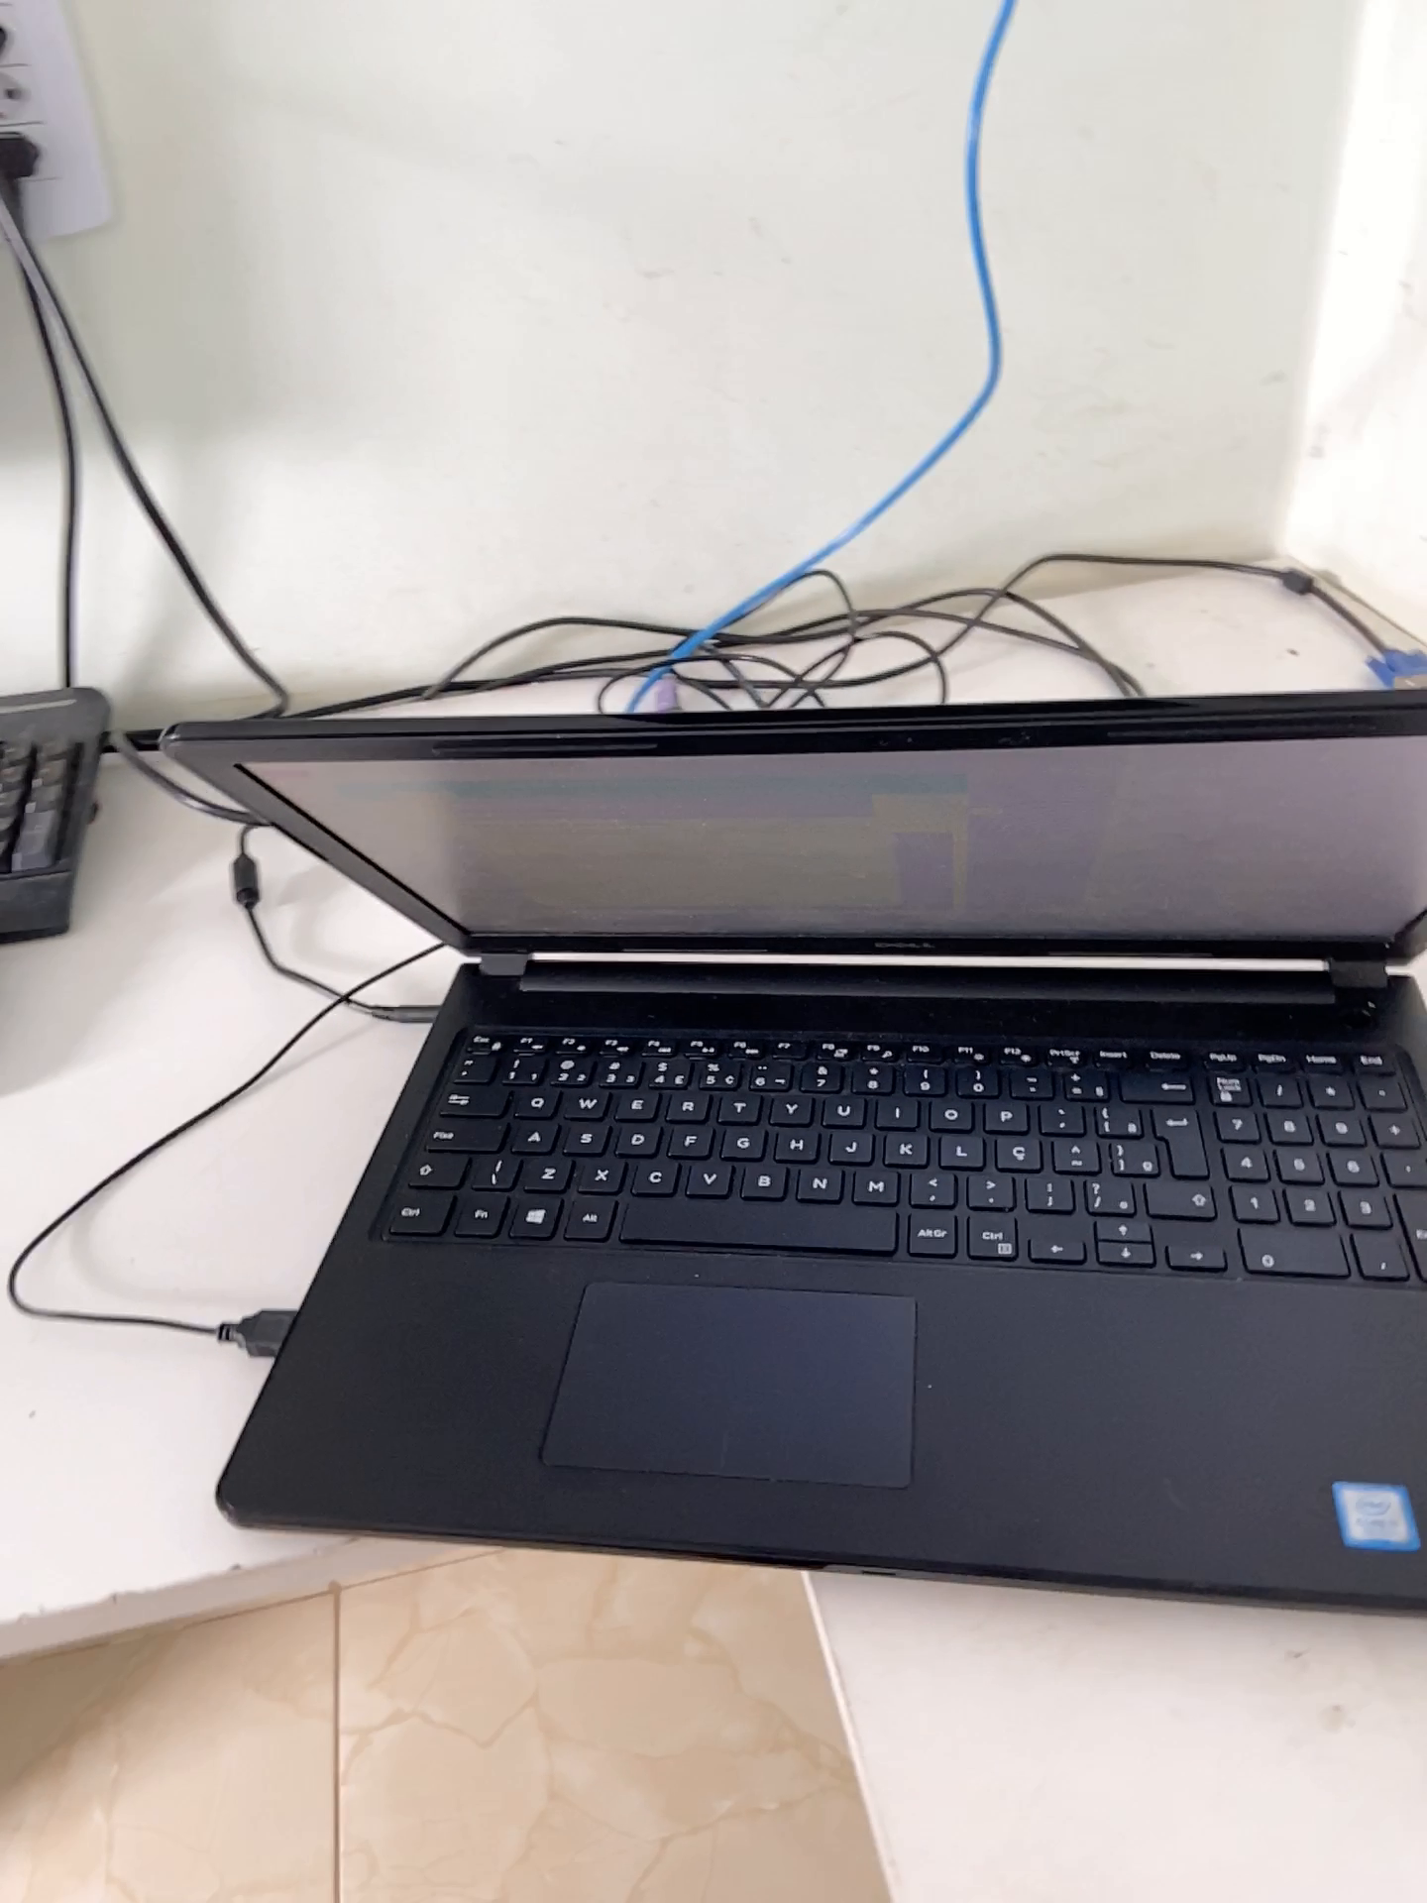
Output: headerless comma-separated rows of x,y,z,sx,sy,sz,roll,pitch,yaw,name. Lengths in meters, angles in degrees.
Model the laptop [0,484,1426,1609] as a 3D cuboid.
0.055,0.006,0.432,0.371,0.192,0.257,1,36,8,laptop
